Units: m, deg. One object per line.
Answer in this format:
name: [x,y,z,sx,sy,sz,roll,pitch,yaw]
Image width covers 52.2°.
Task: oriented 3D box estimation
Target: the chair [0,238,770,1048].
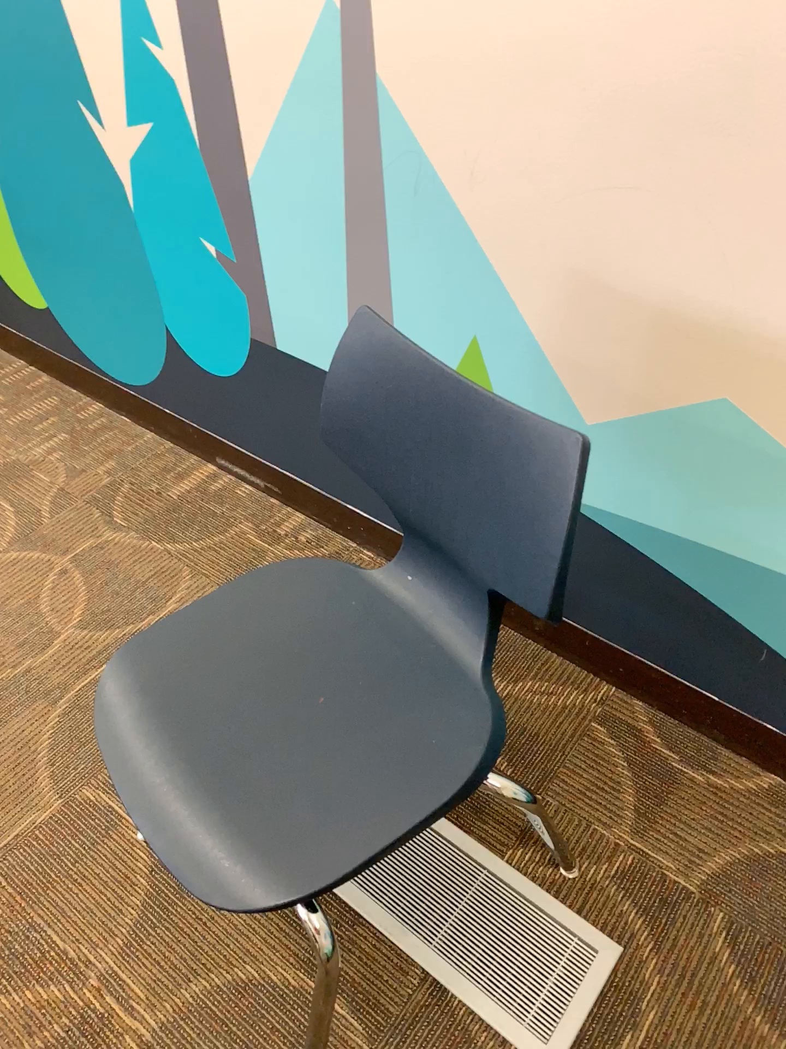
chair: [-0.071,0.186,0.976,0.581,0.747,0.572,-30,49,-27]
